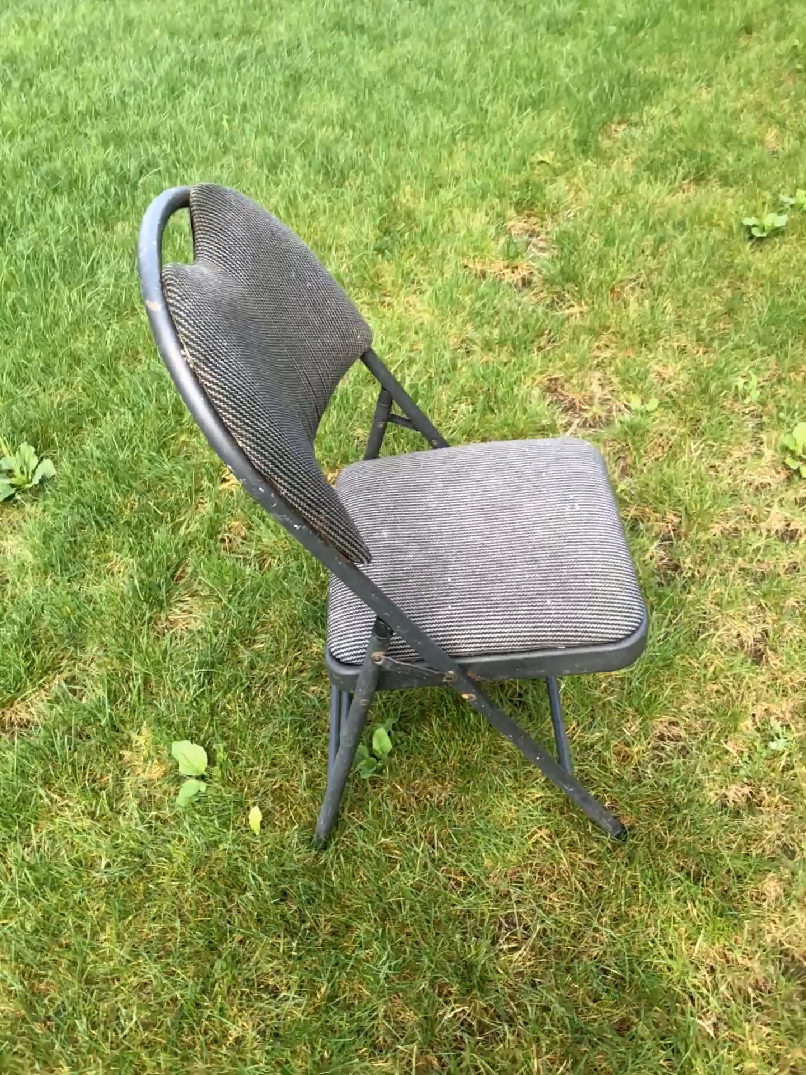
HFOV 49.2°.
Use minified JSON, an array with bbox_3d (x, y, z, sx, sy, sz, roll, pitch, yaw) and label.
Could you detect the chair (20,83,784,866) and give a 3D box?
[{"bbox_3d":[0.027,-0.033,1.128,0.570,0.814,0.534,-3,44,4],"label":"chair"}]
